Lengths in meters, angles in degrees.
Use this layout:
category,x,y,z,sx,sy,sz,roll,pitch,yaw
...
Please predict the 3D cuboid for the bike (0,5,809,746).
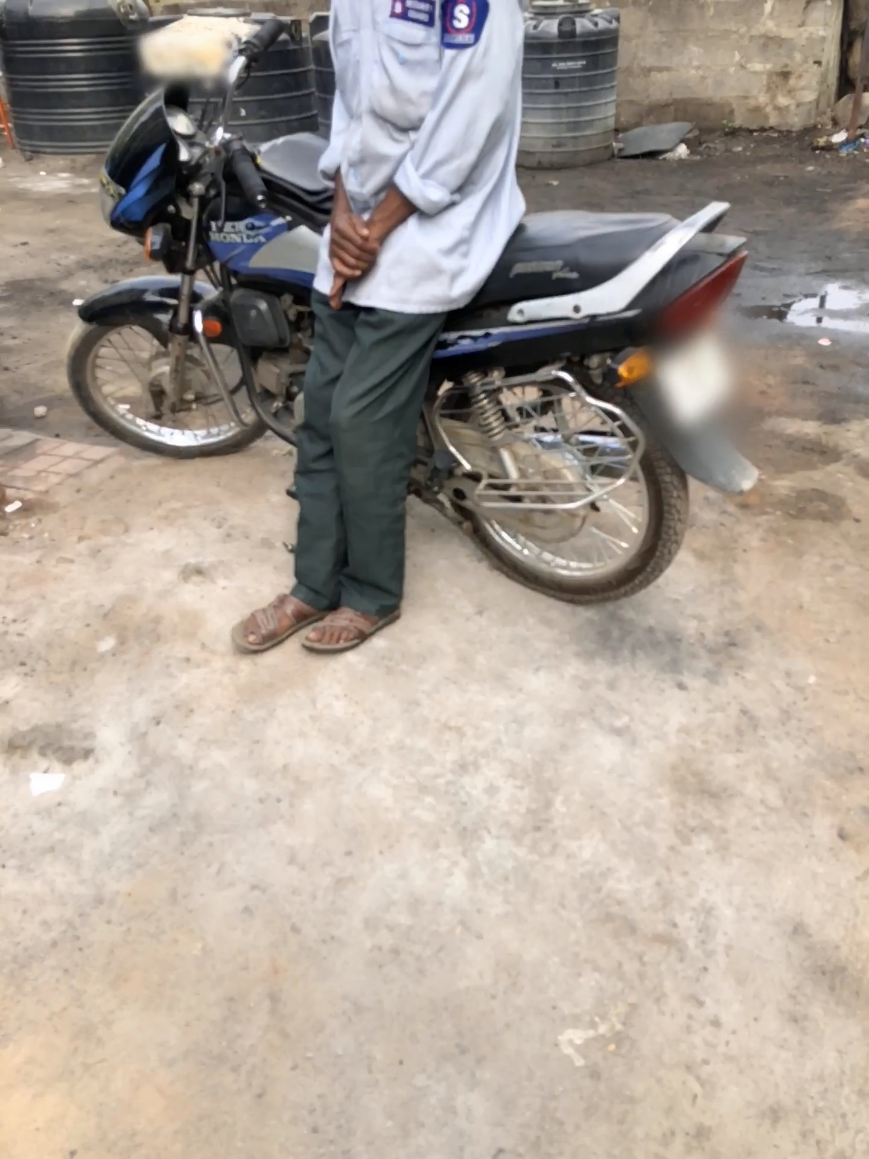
category,x,y,z,sx,sy,sz,roll,pitch,yaw
bike,-0.292,-0.605,2.141,1.799,1.154,0.789,18,38,27
